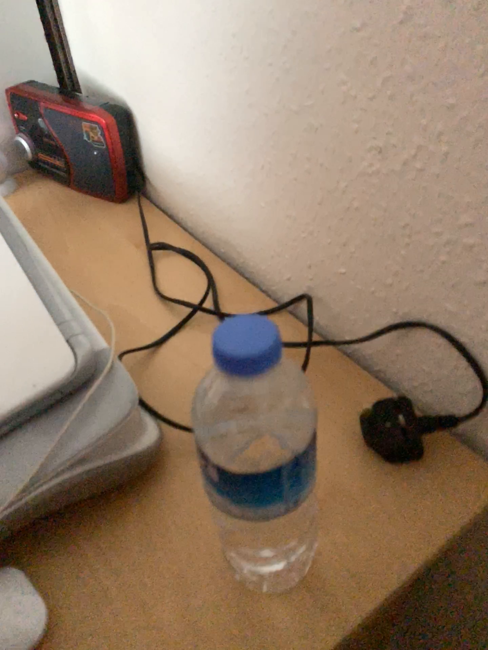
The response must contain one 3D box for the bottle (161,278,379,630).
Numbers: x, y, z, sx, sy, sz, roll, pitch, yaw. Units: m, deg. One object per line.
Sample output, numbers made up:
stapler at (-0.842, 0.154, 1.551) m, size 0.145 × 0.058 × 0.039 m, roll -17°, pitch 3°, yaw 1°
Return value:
bottle at (0.010, 0.079, 0.262) m, size 0.070 × 0.188 × 0.071 m, roll -2°, pitch 41°, yaw 1°
